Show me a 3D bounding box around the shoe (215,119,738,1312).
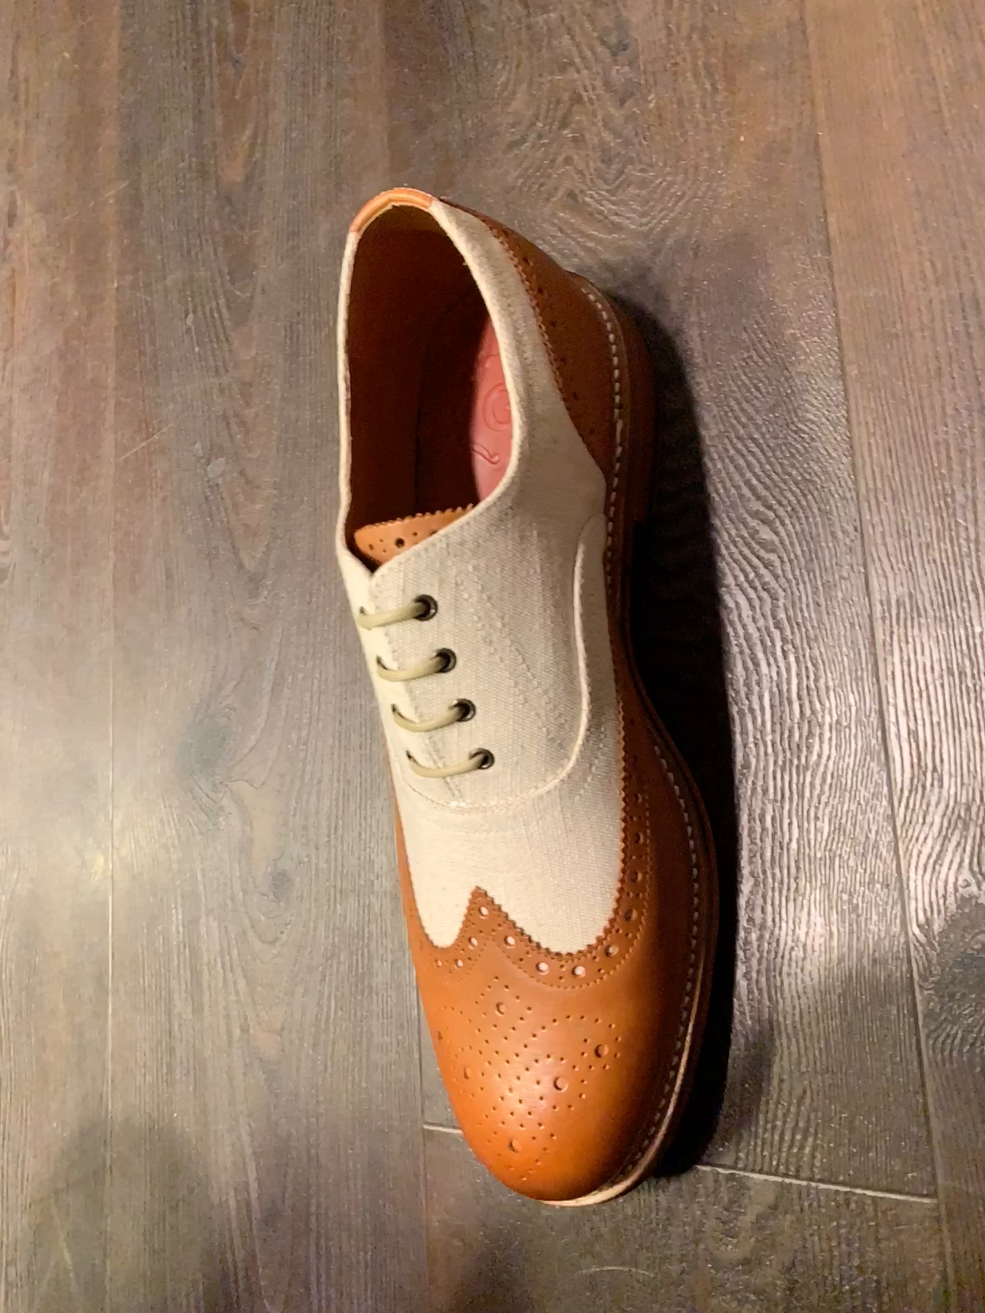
[{"bbox_3d":[-0.001,0.017,0.326,0.110,0.119,0.300,-6,80,32],"label":"shoe"}]
